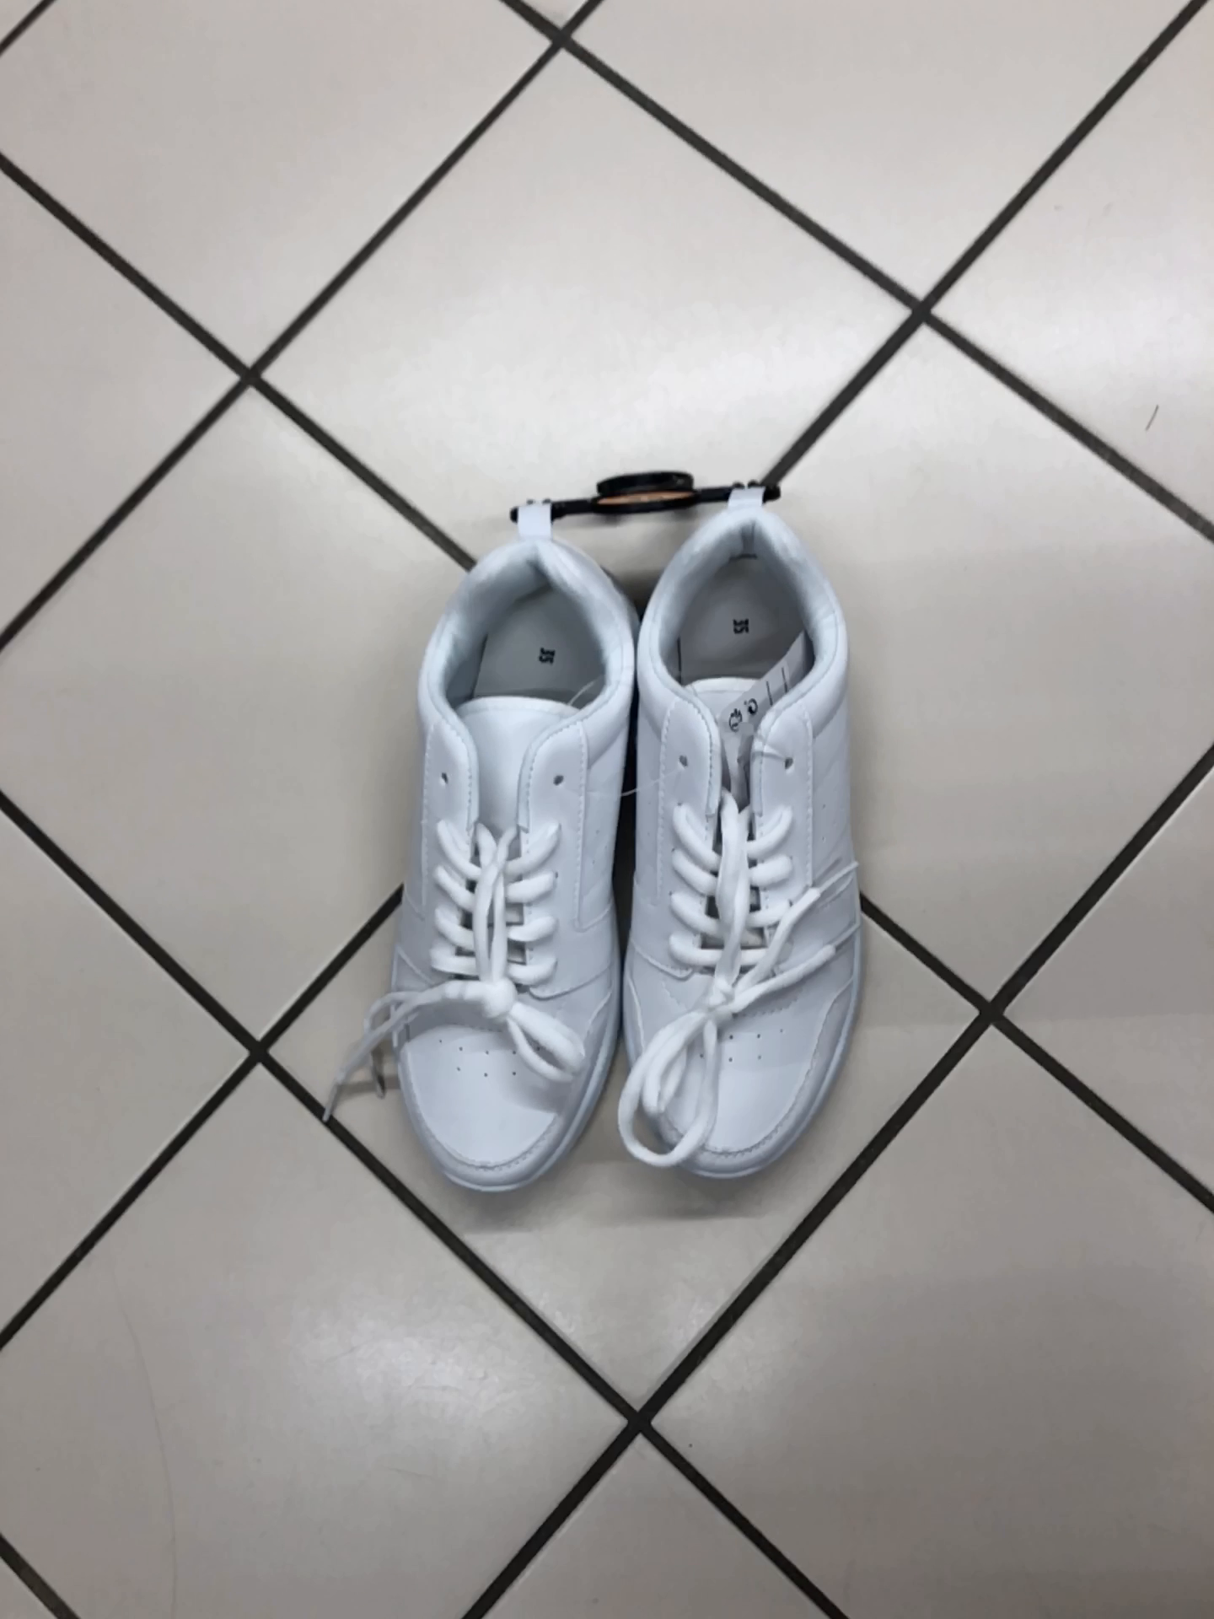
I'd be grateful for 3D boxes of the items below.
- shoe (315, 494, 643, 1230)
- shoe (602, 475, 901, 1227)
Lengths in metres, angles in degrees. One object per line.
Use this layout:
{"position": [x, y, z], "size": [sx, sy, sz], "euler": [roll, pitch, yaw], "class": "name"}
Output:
{"position": [-0.039, 0.018, 0.483], "size": [0.090, 0.090, 0.240], "euler": [1, 82, 5], "class": "shoe"}
{"position": [0.052, 0.014, 0.474], "size": [0.090, 0.090, 0.240], "euler": [1, 82, 5], "class": "shoe"}
